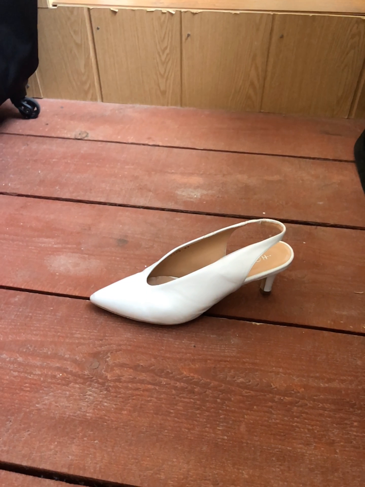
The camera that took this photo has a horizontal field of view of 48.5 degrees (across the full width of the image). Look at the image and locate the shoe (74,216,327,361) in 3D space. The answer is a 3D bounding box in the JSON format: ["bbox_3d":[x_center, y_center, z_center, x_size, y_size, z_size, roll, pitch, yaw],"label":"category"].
[{"bbox_3d":[0.014,0.045,0.441,0.240,0.080,0.100,-6,42,-6],"label":"shoe"}]
